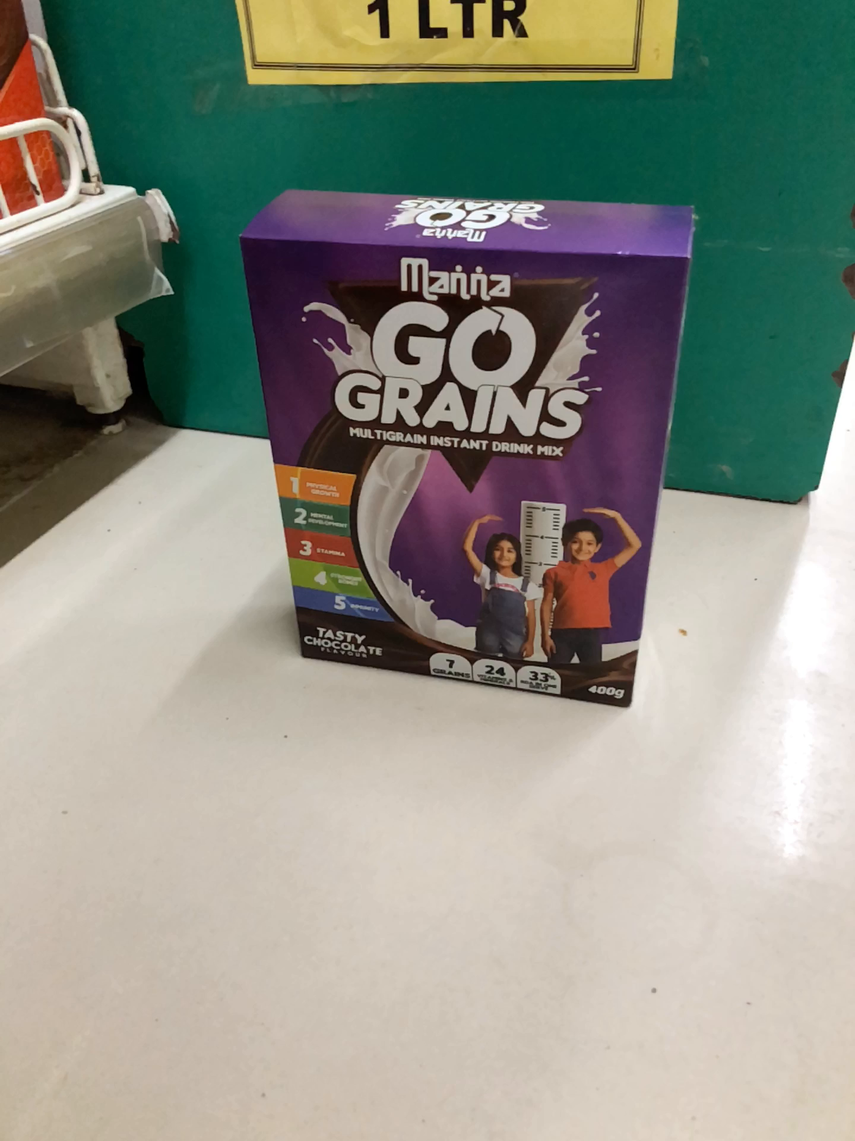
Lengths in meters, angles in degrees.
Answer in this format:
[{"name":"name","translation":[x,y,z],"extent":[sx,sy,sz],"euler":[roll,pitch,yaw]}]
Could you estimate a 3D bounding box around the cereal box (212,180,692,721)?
[{"name":"cereal box","translation":[0.010,-0.041,0.363],"extent":[0.150,0.189,0.050],"euler":[7,35,11]}]
